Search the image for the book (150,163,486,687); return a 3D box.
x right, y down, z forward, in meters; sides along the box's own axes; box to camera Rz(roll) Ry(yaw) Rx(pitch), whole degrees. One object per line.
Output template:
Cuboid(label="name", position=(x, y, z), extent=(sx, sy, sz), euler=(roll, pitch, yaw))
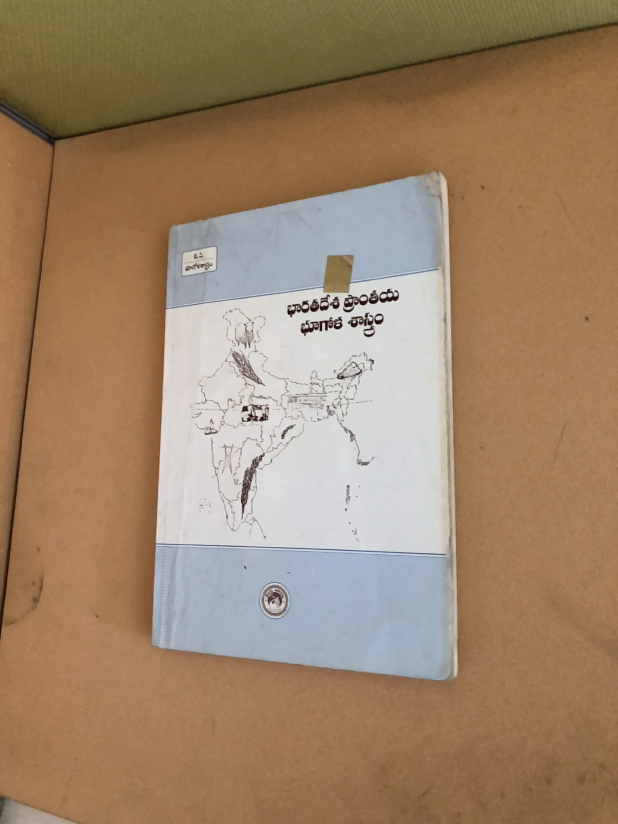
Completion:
Cuboid(label="book", position=(0.000, 0.005, 0.375), extent=(0.180, 0.030, 0.250), euler=(-3, 81, 26))
